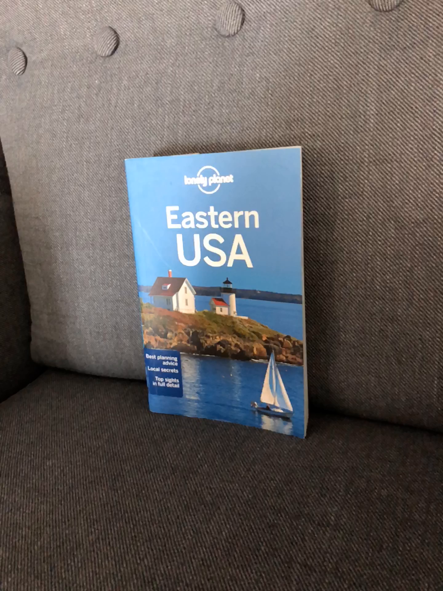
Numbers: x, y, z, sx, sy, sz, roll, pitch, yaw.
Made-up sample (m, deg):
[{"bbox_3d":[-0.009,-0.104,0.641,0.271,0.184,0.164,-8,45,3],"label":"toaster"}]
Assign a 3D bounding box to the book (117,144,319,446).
[{"bbox_3d":[0.000,-0.002,0.364,0.135,0.200,0.039,4,16,27],"label":"book"}]
